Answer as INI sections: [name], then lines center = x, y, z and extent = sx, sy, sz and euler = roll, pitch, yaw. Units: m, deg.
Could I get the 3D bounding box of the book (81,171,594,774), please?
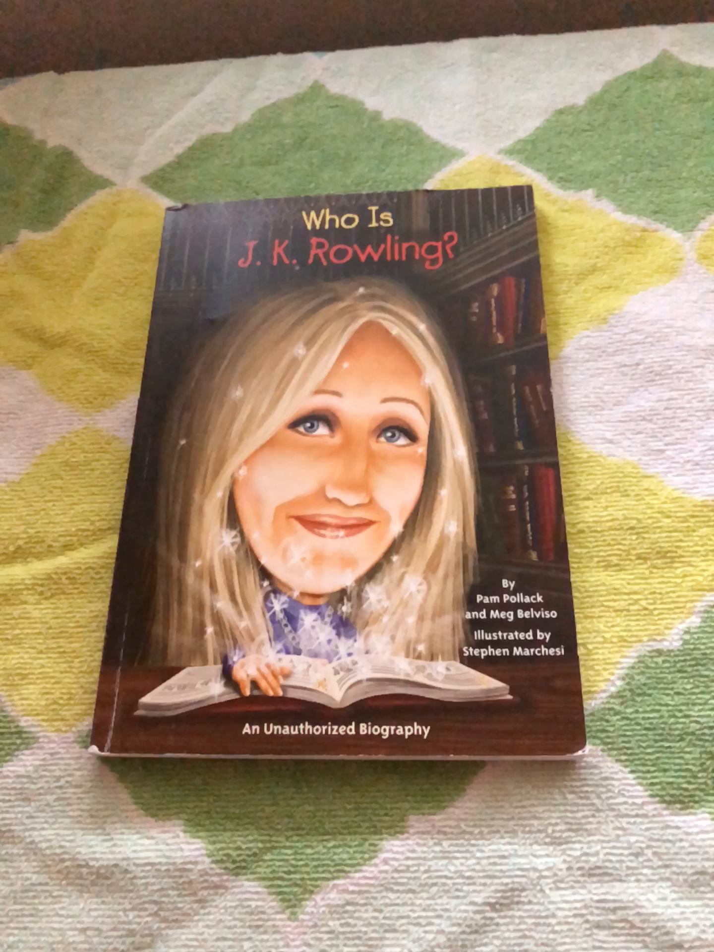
[book]
center = -0.004, -0.012, 0.237
extent = 0.126, 0.012, 0.187
euler = -1, 66, 5
